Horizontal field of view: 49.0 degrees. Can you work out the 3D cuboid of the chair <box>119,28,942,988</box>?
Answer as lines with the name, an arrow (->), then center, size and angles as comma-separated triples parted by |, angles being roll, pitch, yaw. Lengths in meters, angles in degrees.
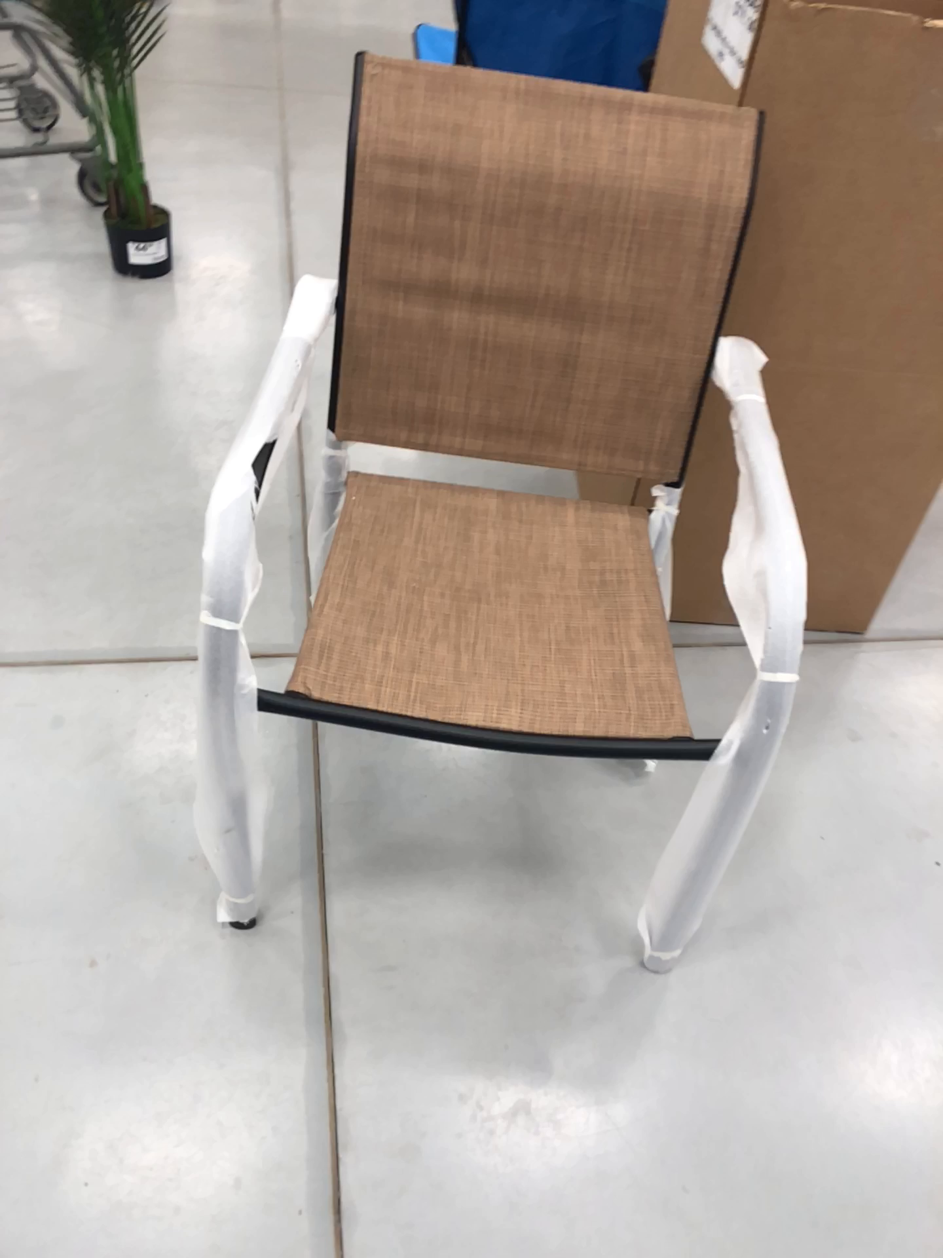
chair -> 0.035, -0.107, 1.243 | 0.620, 0.876, 0.633 | 6, 43, -2
